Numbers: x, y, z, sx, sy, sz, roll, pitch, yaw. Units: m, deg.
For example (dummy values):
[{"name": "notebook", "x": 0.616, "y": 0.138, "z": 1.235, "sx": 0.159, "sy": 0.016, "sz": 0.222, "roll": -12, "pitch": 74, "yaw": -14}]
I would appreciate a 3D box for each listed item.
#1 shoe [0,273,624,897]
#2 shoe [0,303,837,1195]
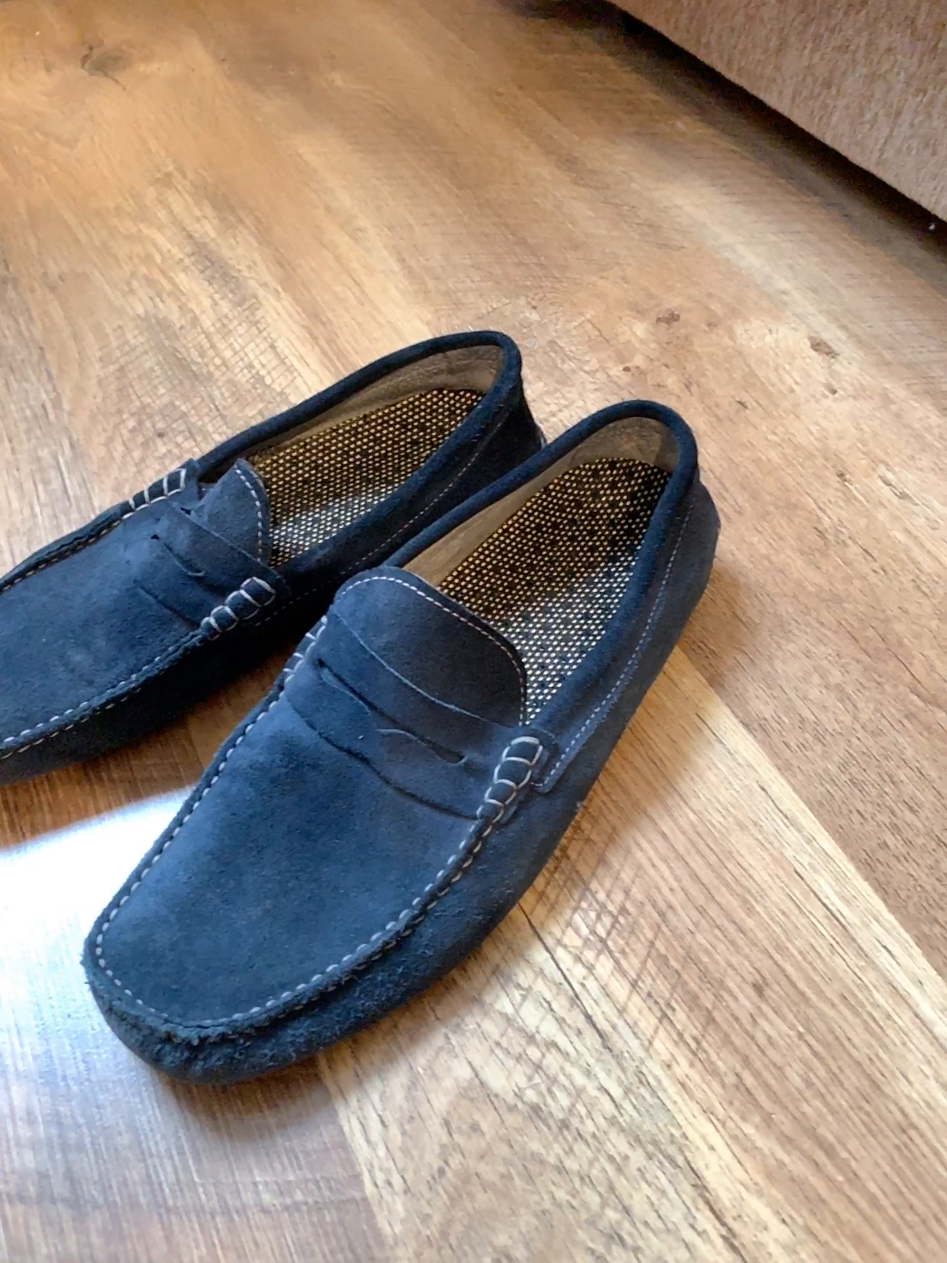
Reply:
[{"name": "shoe", "x": -0.083, "y": -0.033, "z": 0.355, "sx": 0.270, "sy": 0.070, "sz": 0.100, "roll": -30, "pitch": 58, "yaw": -23}, {"name": "shoe", "x": -0.004, "y": 0.008, "z": 0.318, "sx": 0.110, "sy": 0.070, "sz": 0.291, "roll": 31, "pitch": 57, "yaw": 22}]
